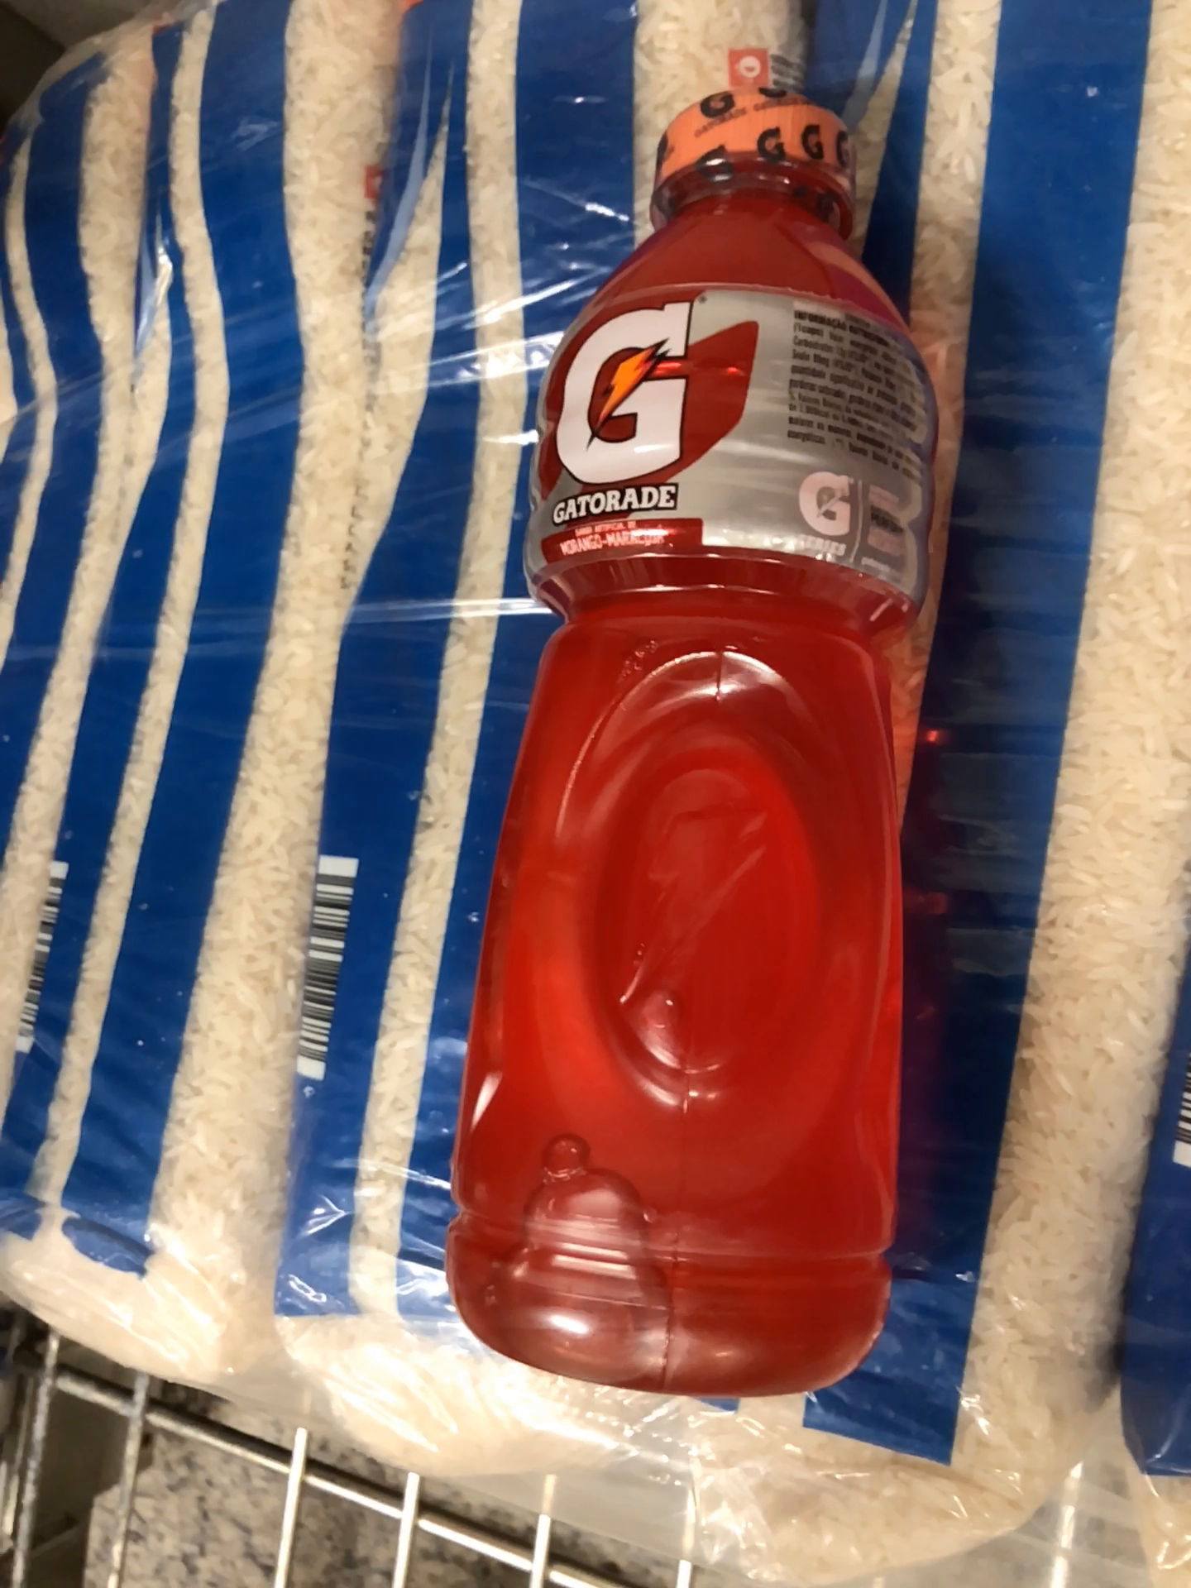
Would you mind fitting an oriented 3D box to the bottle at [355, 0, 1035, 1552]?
[{"bbox_3d":[0.020,-0.018,0.210,0.080,0.060,0.220,1,86,25],"label":"bottle"}]
